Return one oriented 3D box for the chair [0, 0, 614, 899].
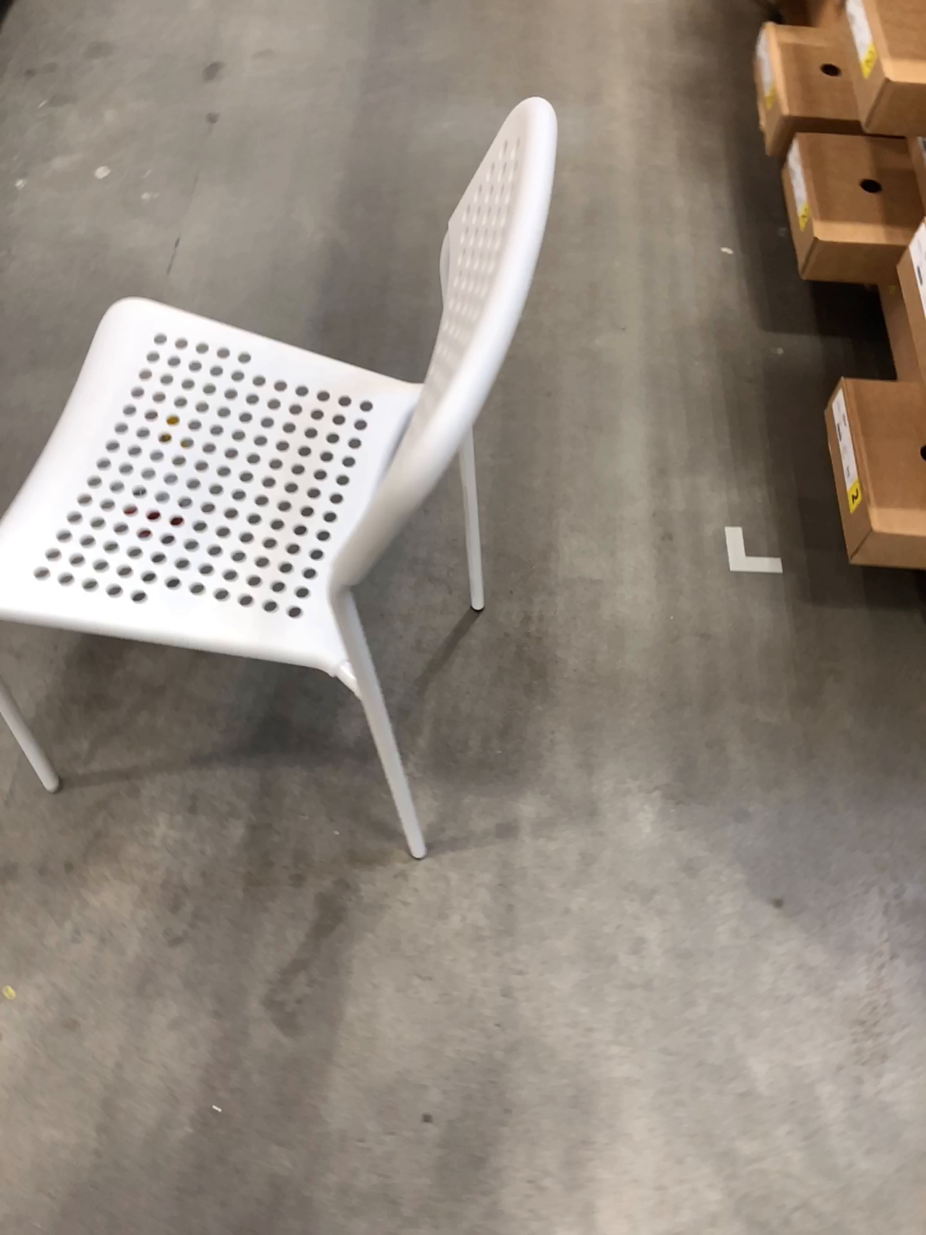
[{"bbox_3d":[-0.214,-0.115,0.945,0.510,0.699,0.461,14,61,4],"label":"chair"}]
